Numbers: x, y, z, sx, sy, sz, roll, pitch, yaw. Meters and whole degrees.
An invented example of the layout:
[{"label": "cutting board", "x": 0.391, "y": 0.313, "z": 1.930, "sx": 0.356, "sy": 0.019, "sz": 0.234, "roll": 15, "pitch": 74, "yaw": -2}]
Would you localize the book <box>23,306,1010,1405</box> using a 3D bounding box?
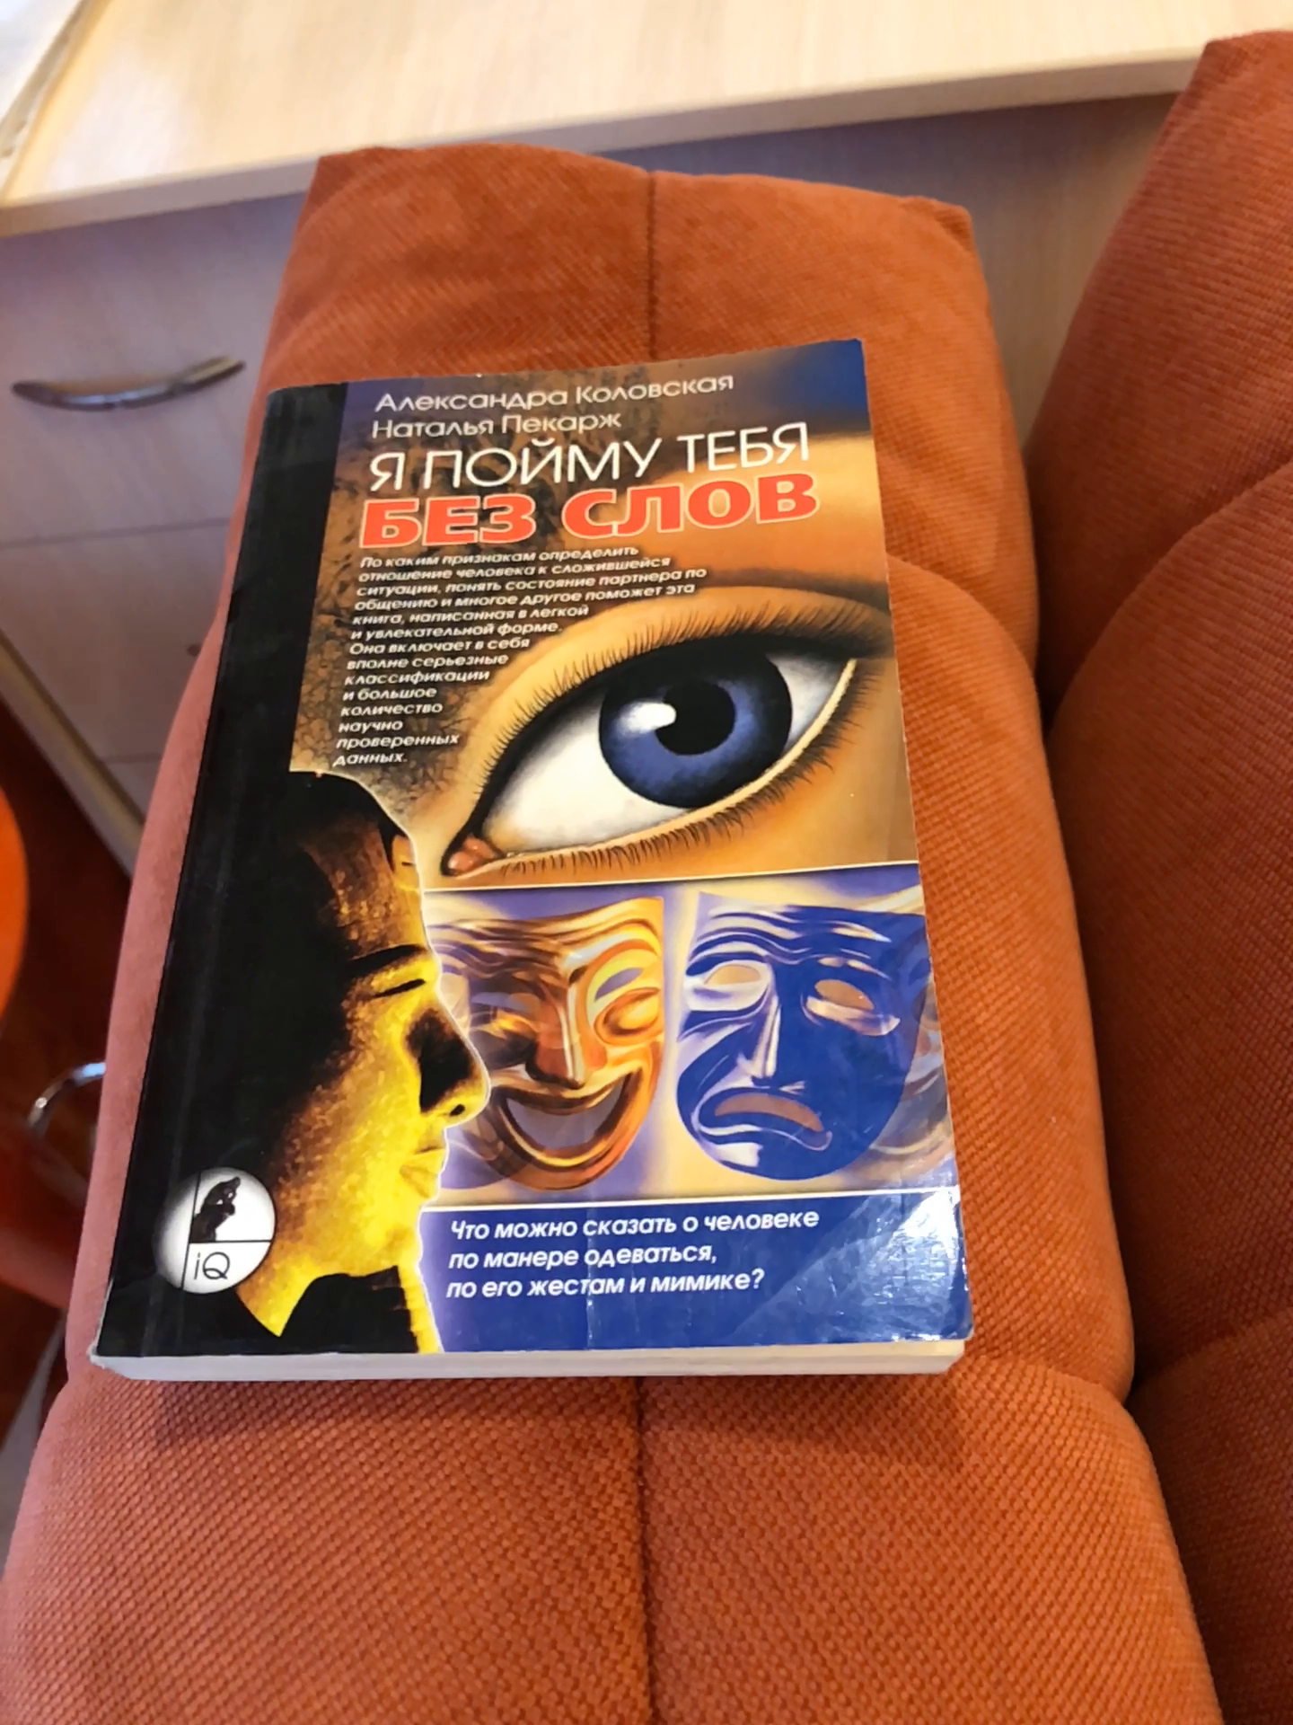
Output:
[{"label": "book", "x": -0.017, "y": -0.012, "z": 0.244, "sx": 0.128, "sy": 0.030, "sz": 0.191, "roll": -3, "pitch": 60, "yaw": 6}]
